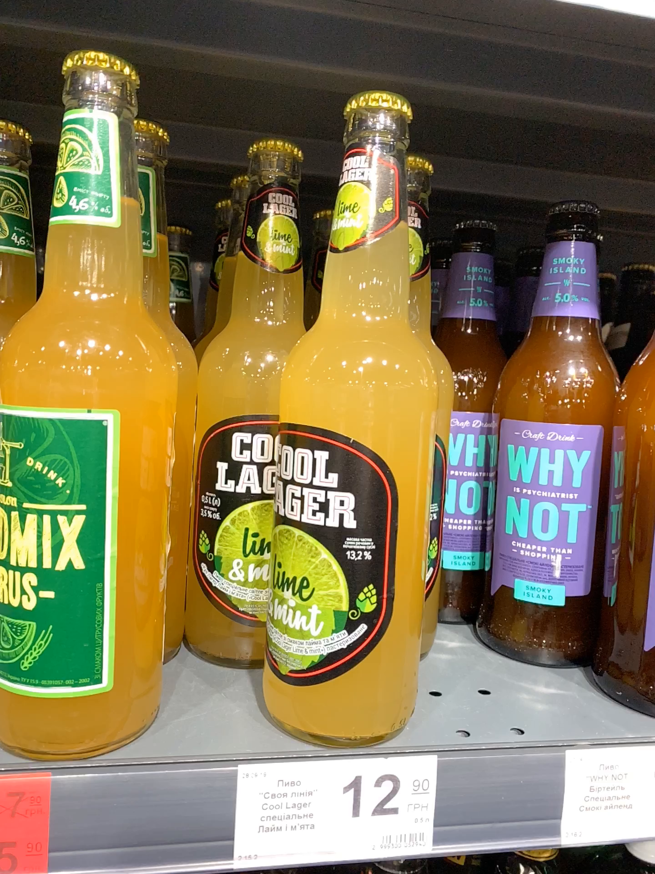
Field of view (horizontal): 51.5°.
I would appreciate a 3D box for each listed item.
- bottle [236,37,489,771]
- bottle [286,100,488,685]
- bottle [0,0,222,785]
[{"bbox_3d":[0.015,-0.011,0.269,0.063,0.244,0.065,3,5,0],"label":"bottle"},{"bbox_3d":[0.031,-0.020,0.346,0.063,0.259,0.069,3,5,0],"label":"bottle"},{"bbox_3d":[-0.097,-0.019,0.261,0.078,0.259,0.064,6,6,28],"label":"bottle"}]
